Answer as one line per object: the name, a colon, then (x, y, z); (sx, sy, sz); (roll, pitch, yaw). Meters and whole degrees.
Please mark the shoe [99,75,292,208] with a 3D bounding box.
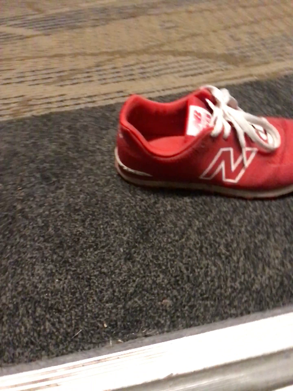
shoe: (0.089, -0.061, 0.369); (0.256, 0.107, 0.101); (1, 50, 5)
